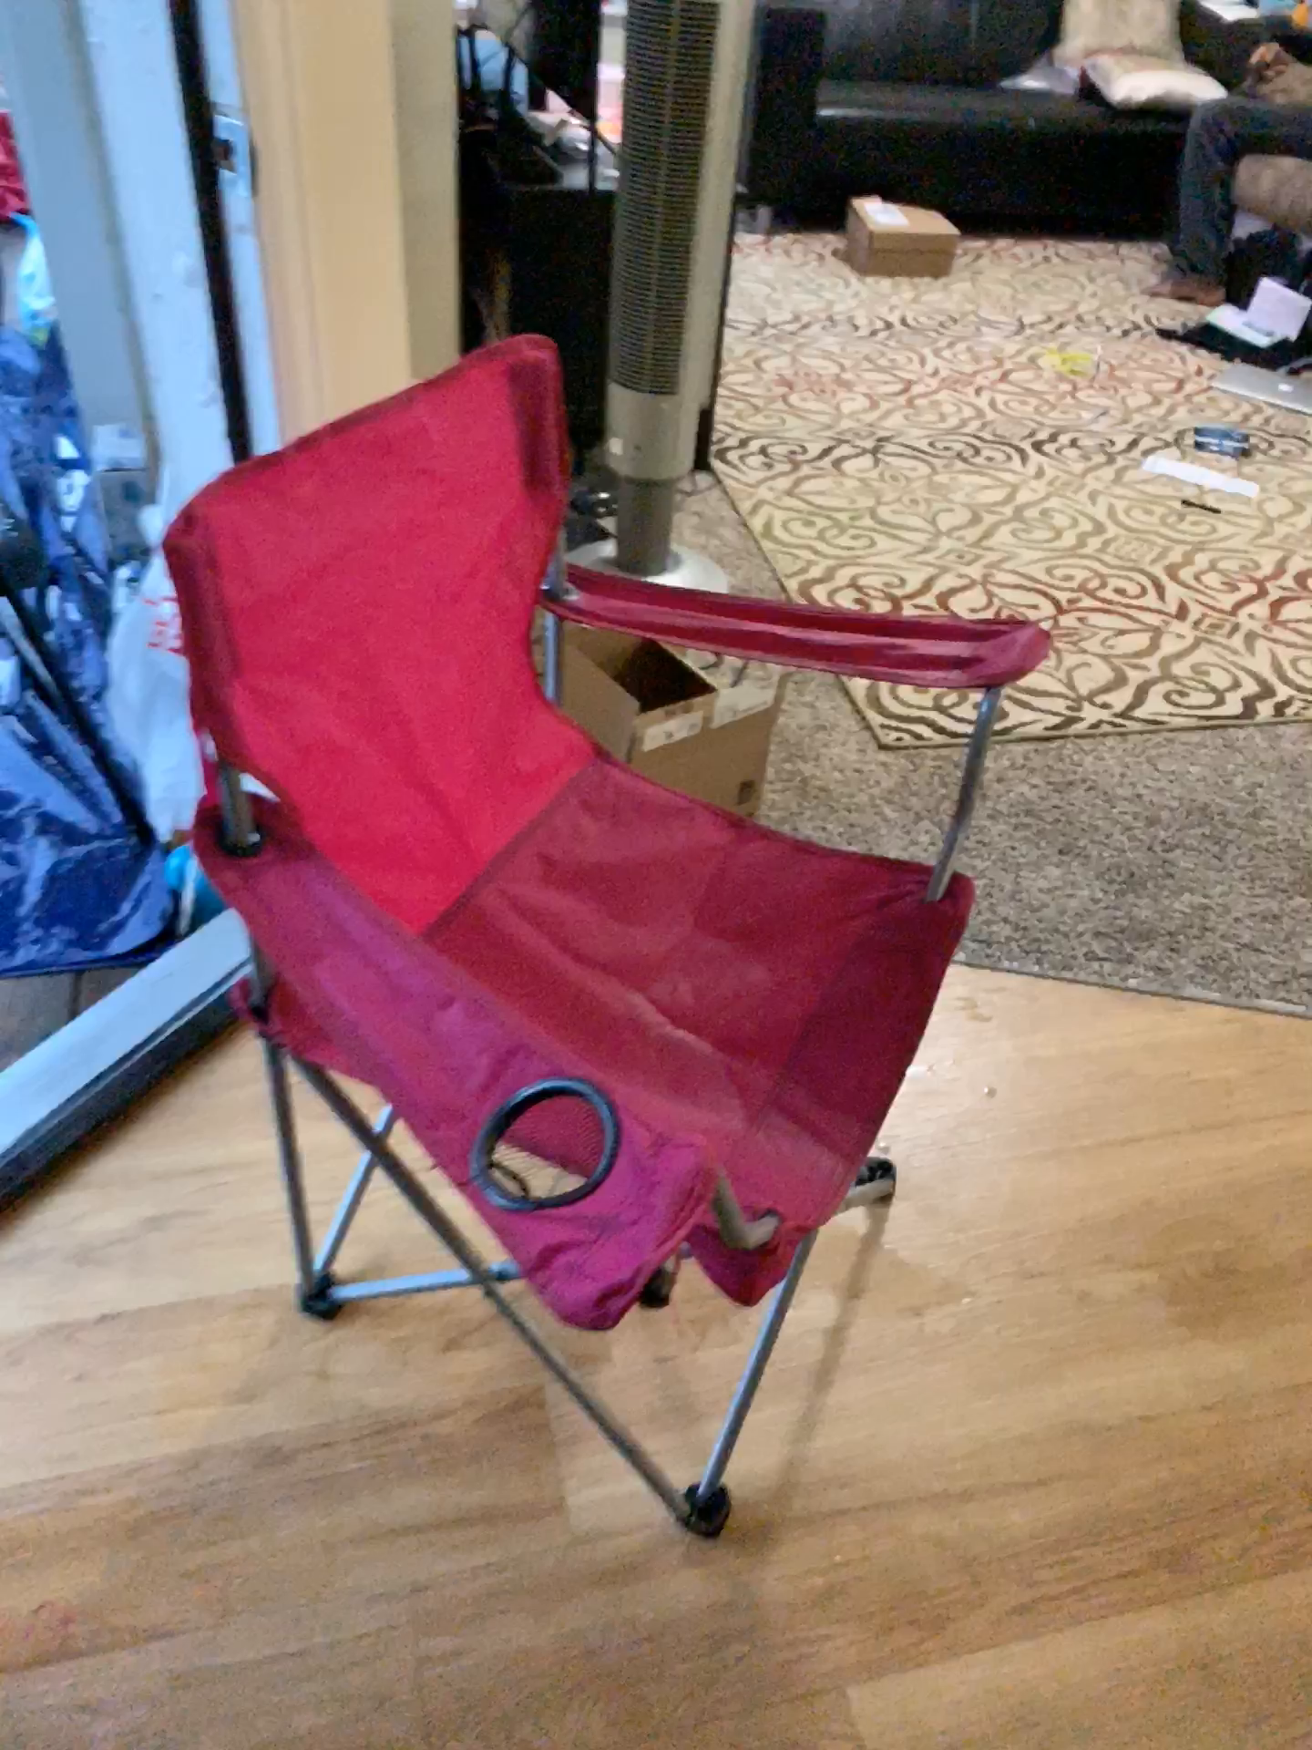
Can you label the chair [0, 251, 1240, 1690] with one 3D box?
[{"bbox_3d":[-0.054,0.027,1.118,0.671,0.776,0.652,23,43,21],"label":"chair"}]
